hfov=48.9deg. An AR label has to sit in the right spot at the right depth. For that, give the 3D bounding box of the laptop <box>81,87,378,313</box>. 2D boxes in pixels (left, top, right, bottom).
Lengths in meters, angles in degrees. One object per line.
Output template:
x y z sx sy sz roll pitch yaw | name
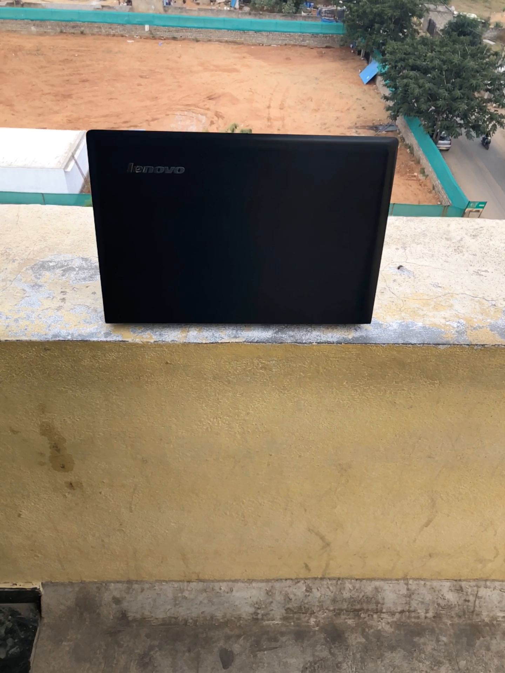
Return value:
-0.034 -0.198 0.793 0.333 0.223 0.246 0 43 -3 | laptop
